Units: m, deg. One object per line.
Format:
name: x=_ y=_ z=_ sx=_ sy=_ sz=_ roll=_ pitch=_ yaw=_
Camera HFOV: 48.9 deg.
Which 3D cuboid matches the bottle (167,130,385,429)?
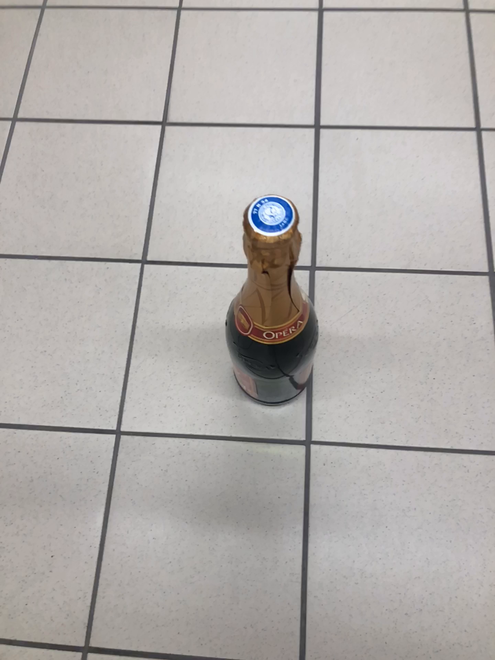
bottle: x=0.021 y=-0.008 z=0.436 sx=0.090 sy=0.299 sz=0.090 roll=-1 pitch=69 yaw=3
